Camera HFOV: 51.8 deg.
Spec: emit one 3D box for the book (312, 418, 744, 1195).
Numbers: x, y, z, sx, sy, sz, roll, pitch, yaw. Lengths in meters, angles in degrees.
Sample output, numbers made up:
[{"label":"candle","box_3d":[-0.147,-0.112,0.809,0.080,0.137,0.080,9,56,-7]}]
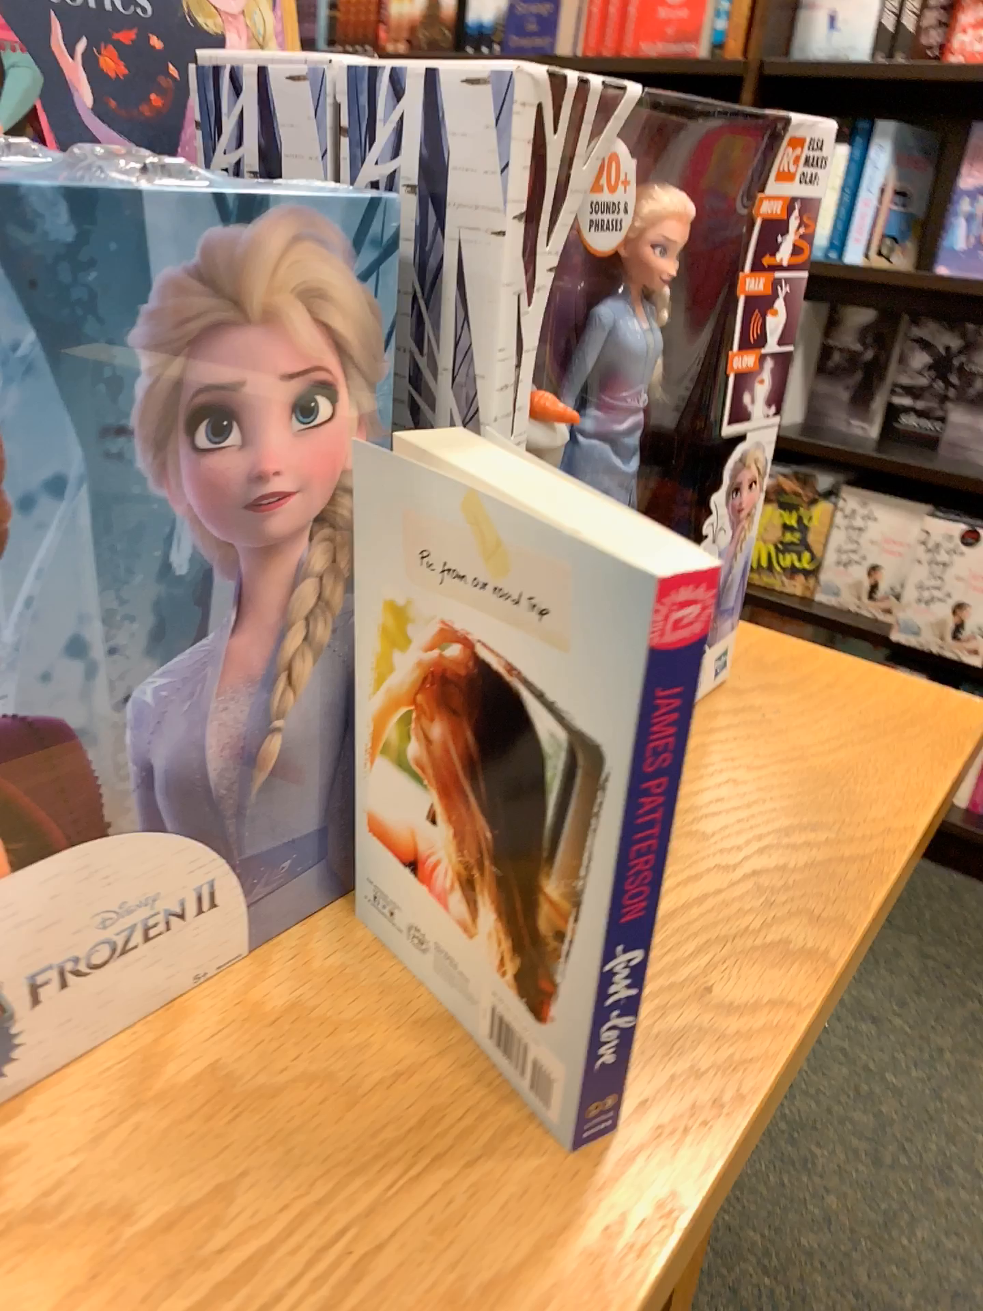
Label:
[{"label":"book","box_3d":[-0.002,0.043,0.339,0.059,0.205,0.142,-13,31,-27]}]
